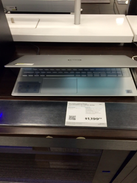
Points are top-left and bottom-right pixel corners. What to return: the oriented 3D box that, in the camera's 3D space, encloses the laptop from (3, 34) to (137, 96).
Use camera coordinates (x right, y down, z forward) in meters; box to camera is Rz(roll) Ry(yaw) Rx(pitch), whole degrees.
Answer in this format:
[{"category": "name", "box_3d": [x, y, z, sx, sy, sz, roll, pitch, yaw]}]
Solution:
[{"category": "laptop", "box_3d": [0.031, -0.092, 0.601, 0.410, 0.108, 0.217, 0, 45, 3]}]
